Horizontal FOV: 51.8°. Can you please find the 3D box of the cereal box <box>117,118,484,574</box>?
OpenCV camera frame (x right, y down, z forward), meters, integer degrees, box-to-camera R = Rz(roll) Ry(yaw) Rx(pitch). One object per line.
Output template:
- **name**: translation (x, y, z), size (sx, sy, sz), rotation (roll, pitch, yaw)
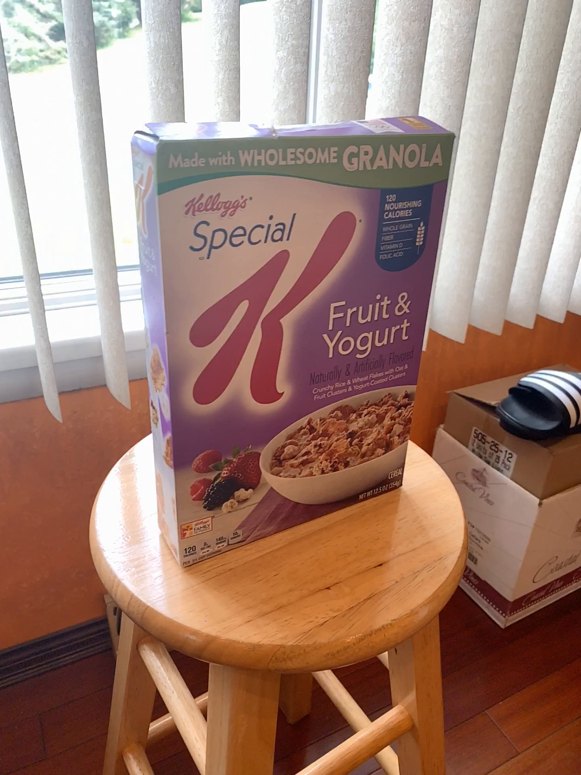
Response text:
- **cereal box**: translation (0.007, -0.033, 0.417), size (0.210, 0.278, 0.070), rotation (-13, 32, -27)
